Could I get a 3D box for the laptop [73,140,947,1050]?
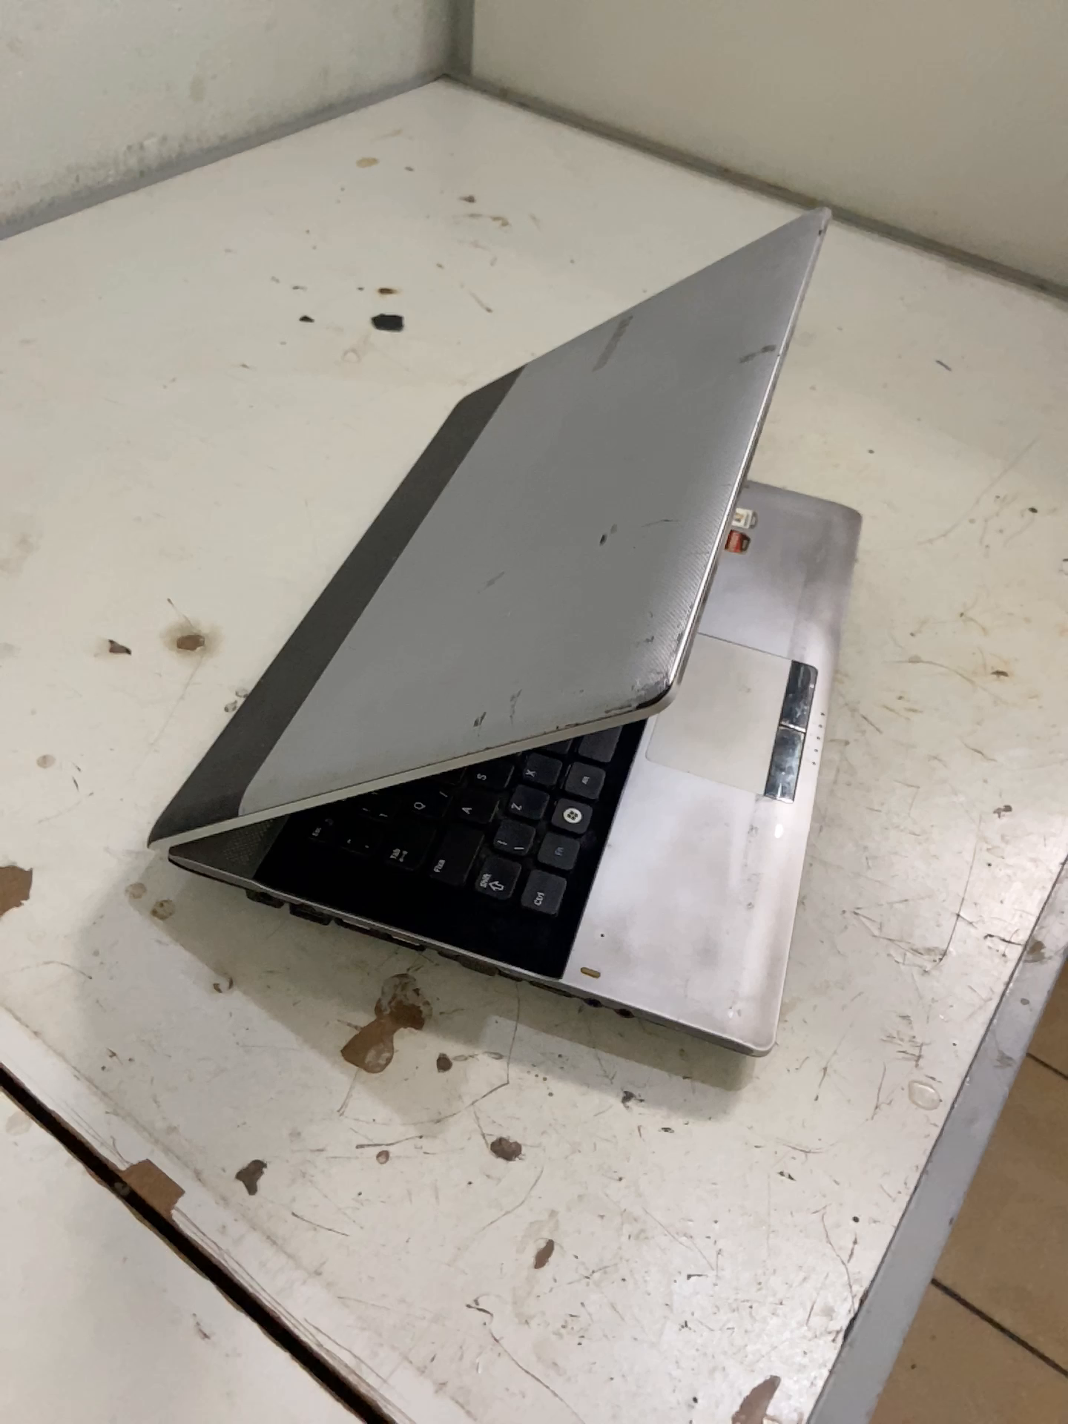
[{"bbox_3d":[0.026,-0.083,0.464,0.233,0.150,0.346,16,46,8],"label":"laptop"}]
